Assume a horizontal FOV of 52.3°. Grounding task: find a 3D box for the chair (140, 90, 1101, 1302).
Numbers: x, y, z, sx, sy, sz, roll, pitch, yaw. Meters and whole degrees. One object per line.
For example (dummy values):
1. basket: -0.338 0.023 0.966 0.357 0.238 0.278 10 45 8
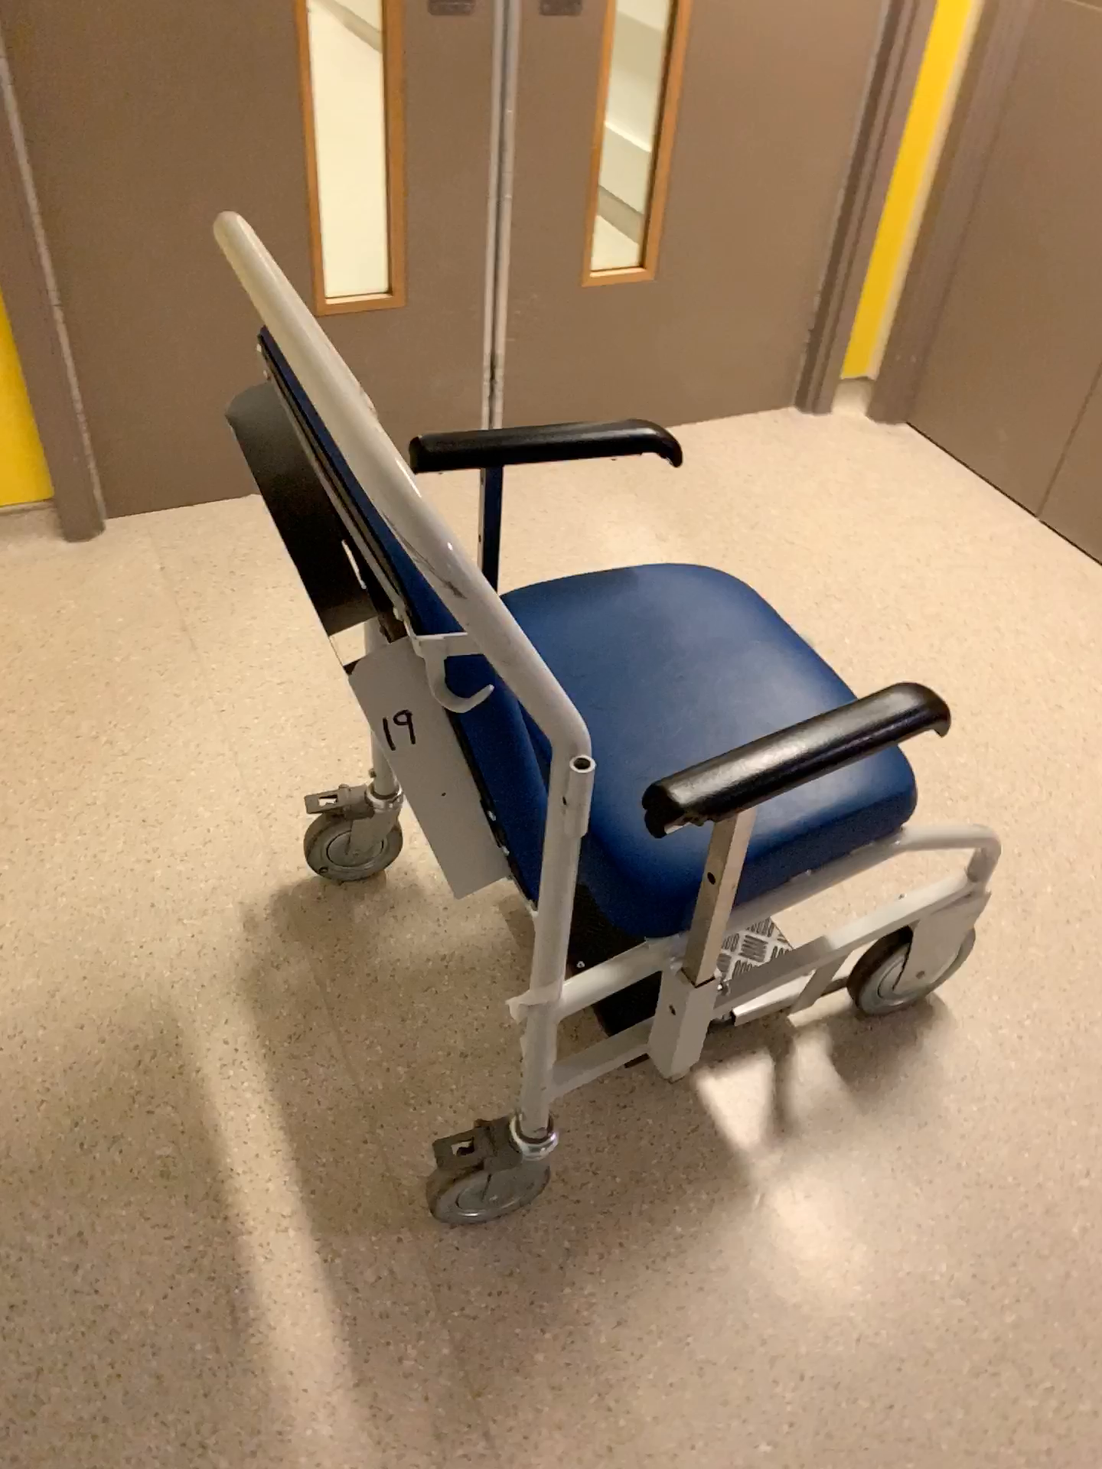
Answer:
1. chair: 0.133 -0.091 1.377 0.942 1.030 0.827 -13 46 -20
